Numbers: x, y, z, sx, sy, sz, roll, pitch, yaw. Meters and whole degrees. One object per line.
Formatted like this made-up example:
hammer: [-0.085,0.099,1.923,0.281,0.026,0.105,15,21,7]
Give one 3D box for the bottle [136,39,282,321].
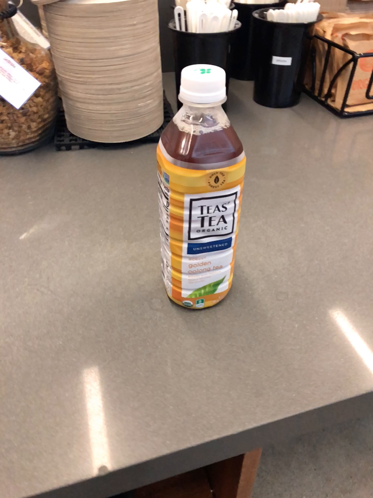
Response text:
bottle: [0.011,-0.044,0.324,0.070,0.199,0.070,0,40,0]
